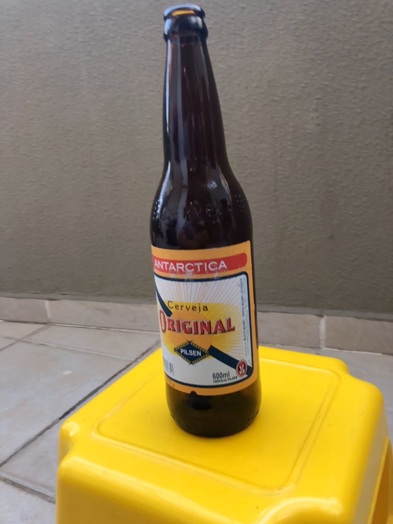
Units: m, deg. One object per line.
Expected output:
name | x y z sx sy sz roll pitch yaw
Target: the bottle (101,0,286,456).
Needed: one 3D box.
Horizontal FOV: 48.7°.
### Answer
bottle | 0.007 -0.024 0.310 0.080 0.289 0.080 -4 12 1
